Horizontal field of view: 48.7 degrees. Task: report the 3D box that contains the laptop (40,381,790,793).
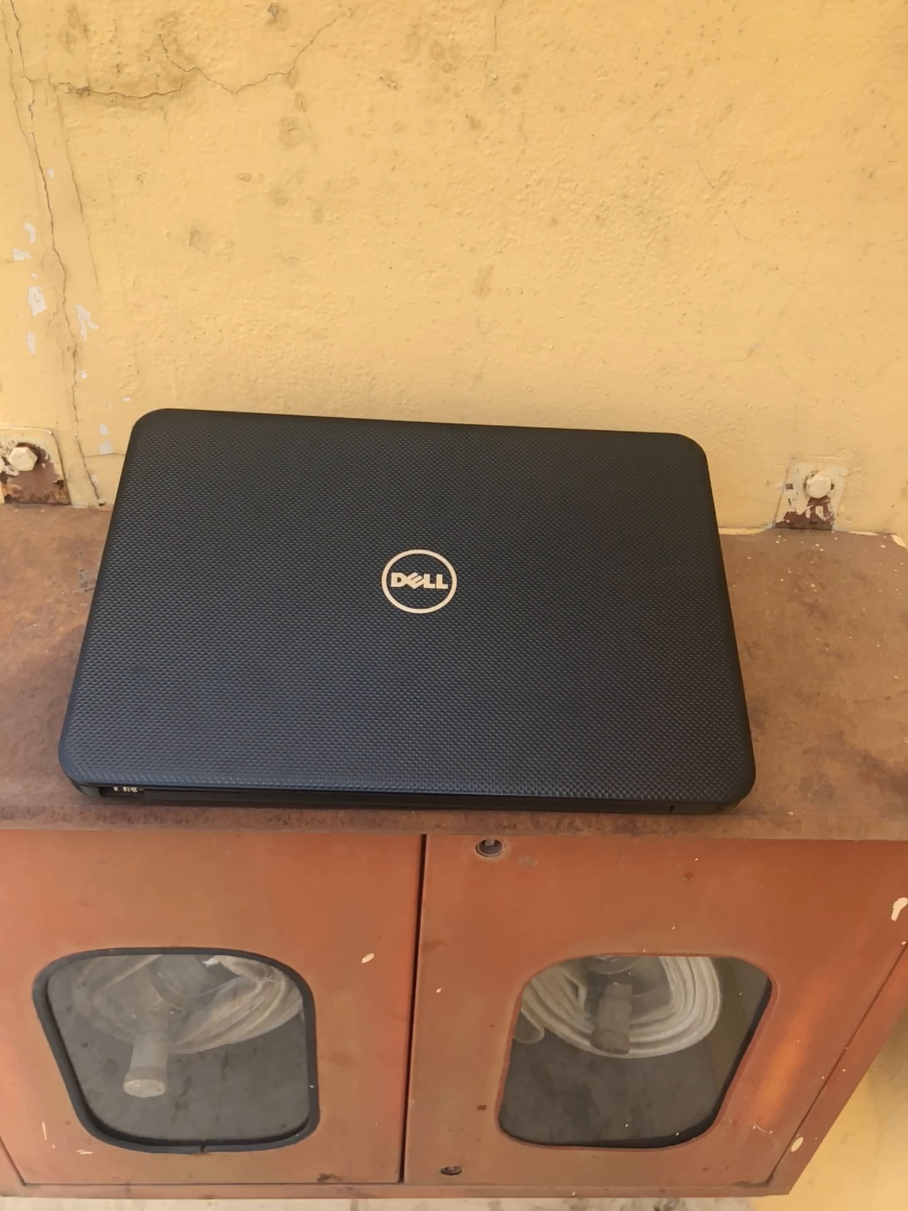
[{"bbox_3d":[-0.016,-0.014,0.560,0.352,0.098,0.184,2,48,-2],"label":"laptop"}]
